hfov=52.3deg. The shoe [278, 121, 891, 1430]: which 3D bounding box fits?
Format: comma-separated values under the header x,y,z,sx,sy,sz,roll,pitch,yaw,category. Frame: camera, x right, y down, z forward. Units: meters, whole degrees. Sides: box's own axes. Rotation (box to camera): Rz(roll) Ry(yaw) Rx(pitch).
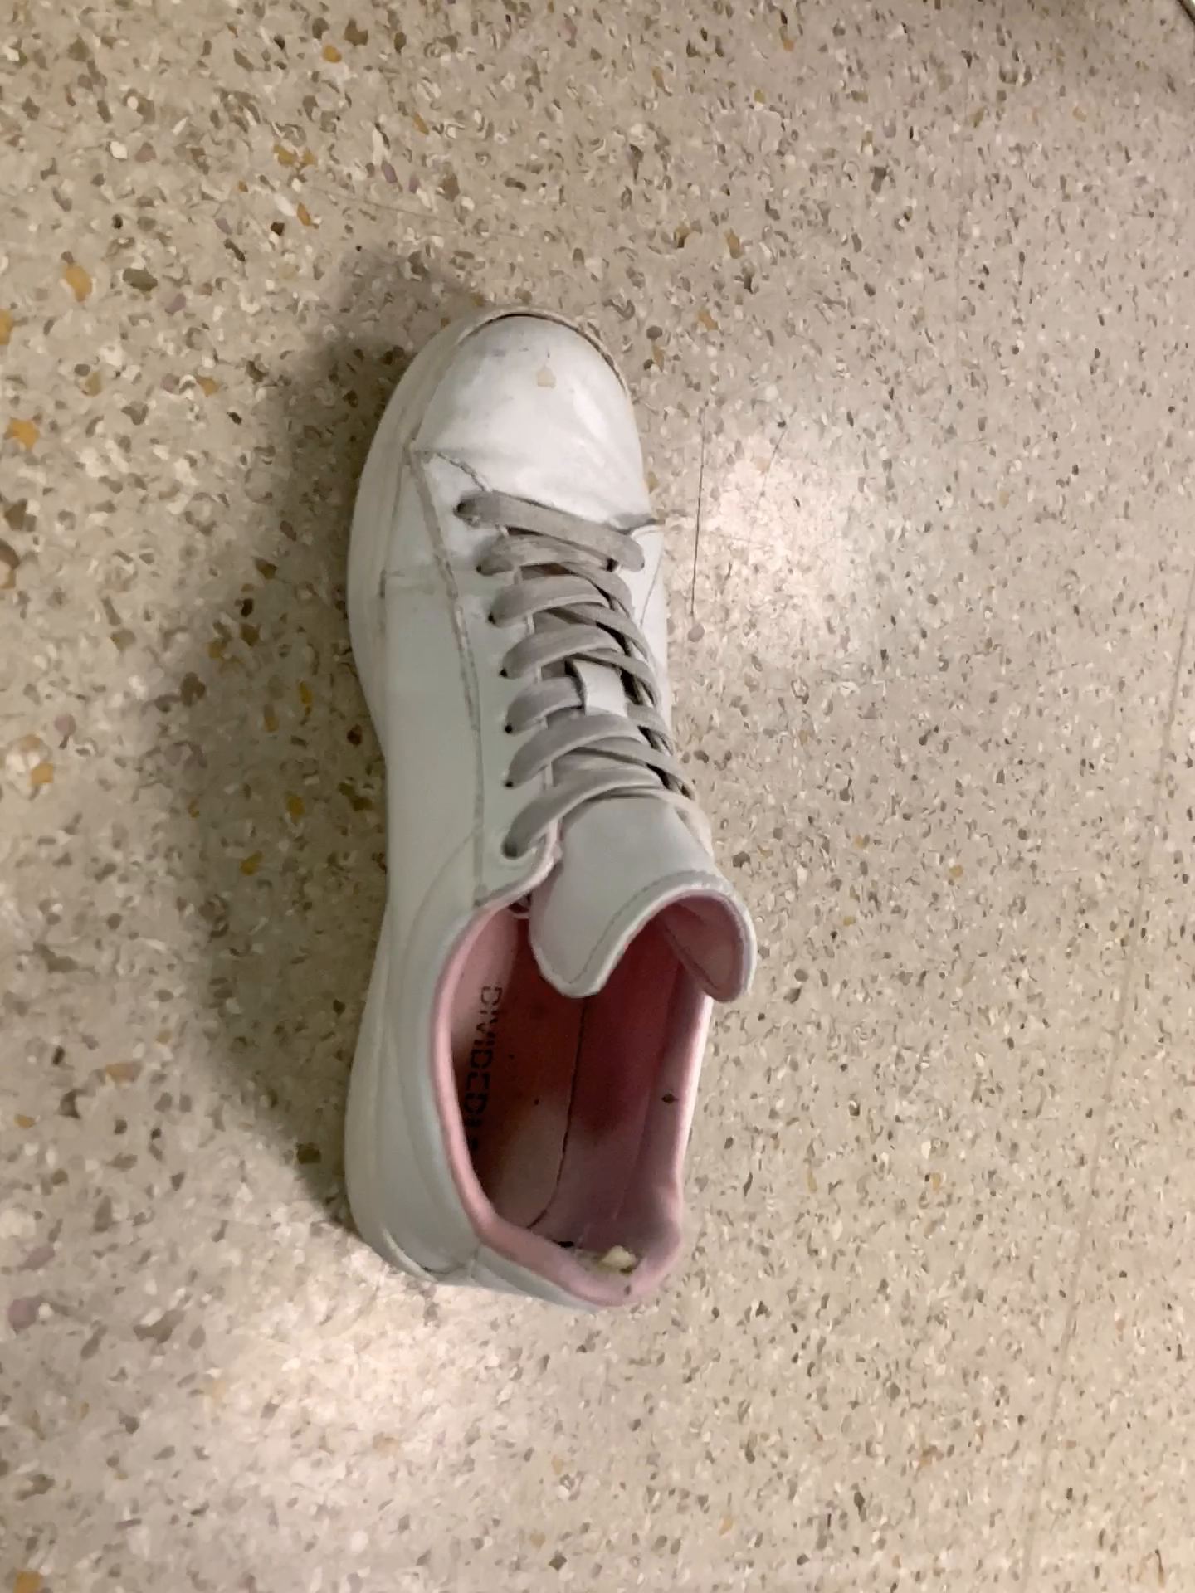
x,y,z,sx,sy,sz,roll,pitch,yaw,category
-0.003,-0.004,0.302,0.099,0.092,0.255,7,85,-38,shoe
